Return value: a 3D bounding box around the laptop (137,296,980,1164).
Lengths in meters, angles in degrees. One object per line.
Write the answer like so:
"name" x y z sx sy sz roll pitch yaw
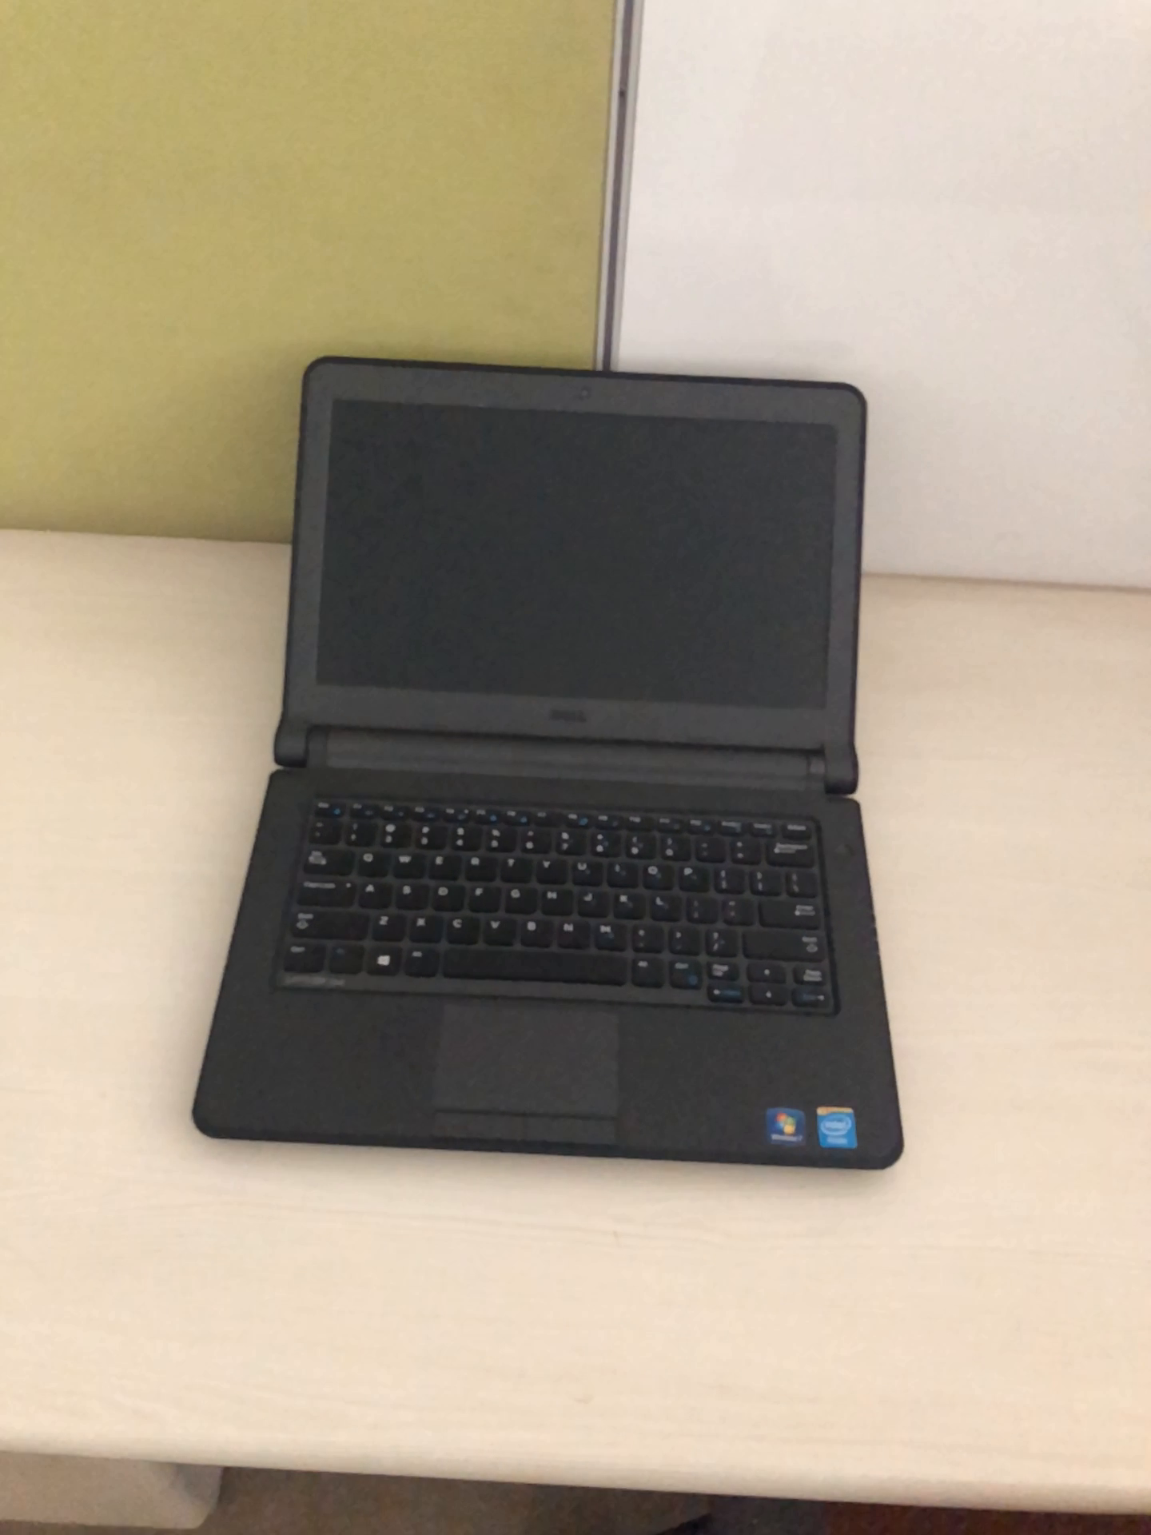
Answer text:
"laptop" -0.001 -0.043 0.643 0.316 0.122 0.417 3 55 -1
